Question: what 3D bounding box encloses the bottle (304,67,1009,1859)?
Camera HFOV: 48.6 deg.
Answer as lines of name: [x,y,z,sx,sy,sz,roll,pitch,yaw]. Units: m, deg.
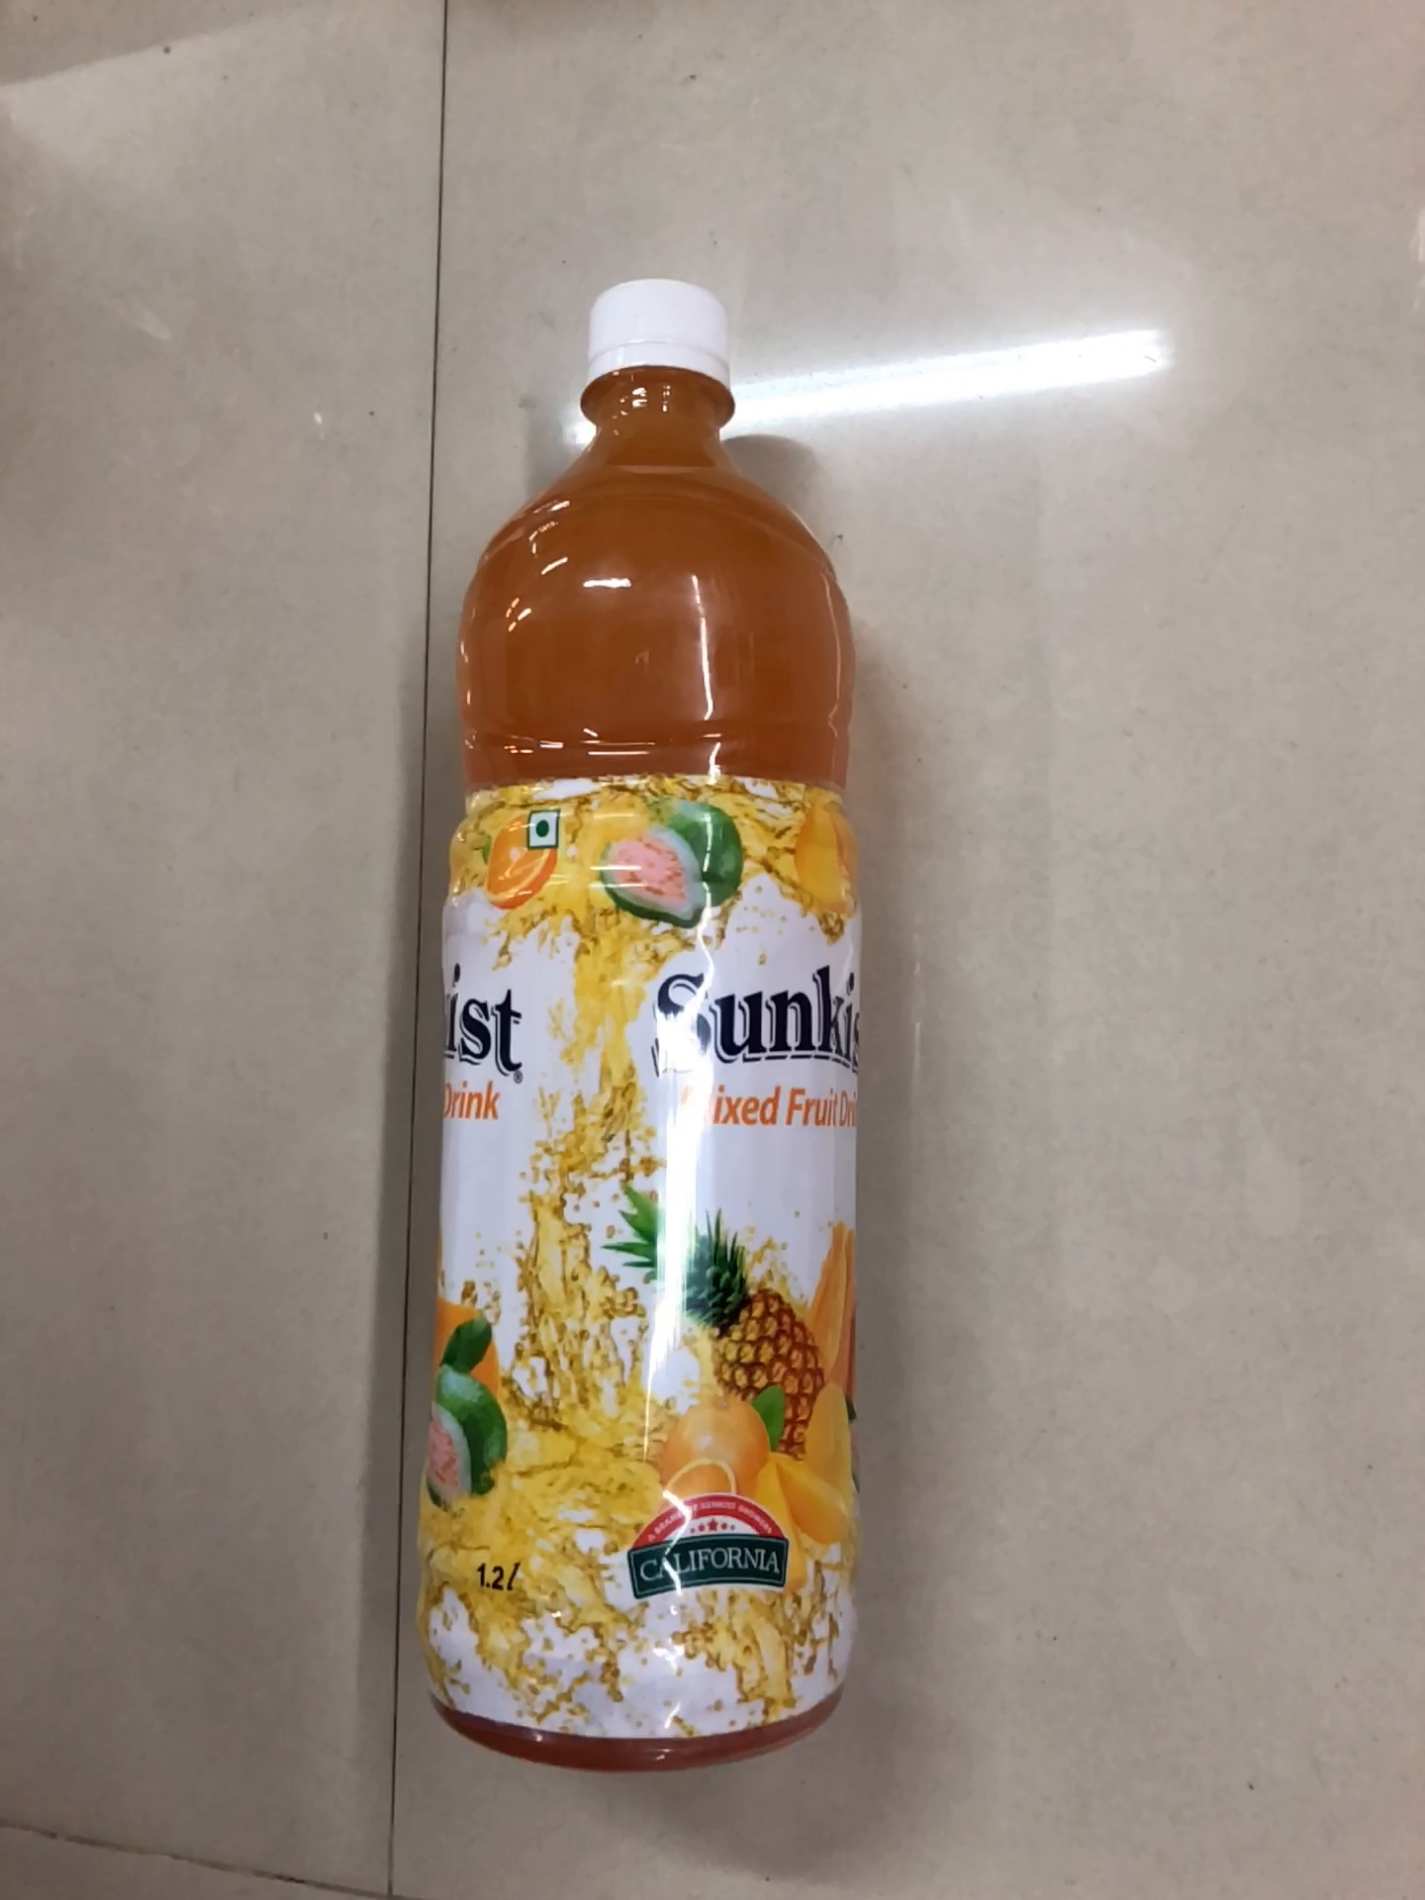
bottle: [-0.003,-0.003,0.307,0.100,0.080,0.290,1,84,18]
